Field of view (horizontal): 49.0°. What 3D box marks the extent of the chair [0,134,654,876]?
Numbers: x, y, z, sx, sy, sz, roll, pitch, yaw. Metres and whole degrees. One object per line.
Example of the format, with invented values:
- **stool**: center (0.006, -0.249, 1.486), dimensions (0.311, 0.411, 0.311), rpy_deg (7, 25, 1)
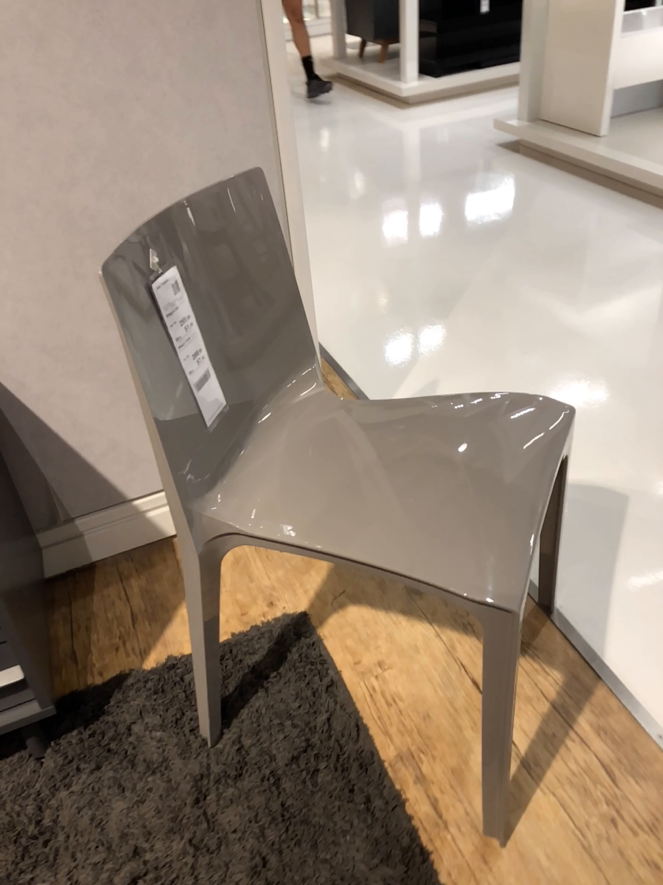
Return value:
- **chair**: center (0.050, 0.049, 1.005), dimensions (0.561, 0.754, 0.523), rpy_deg (12, 40, 23)
